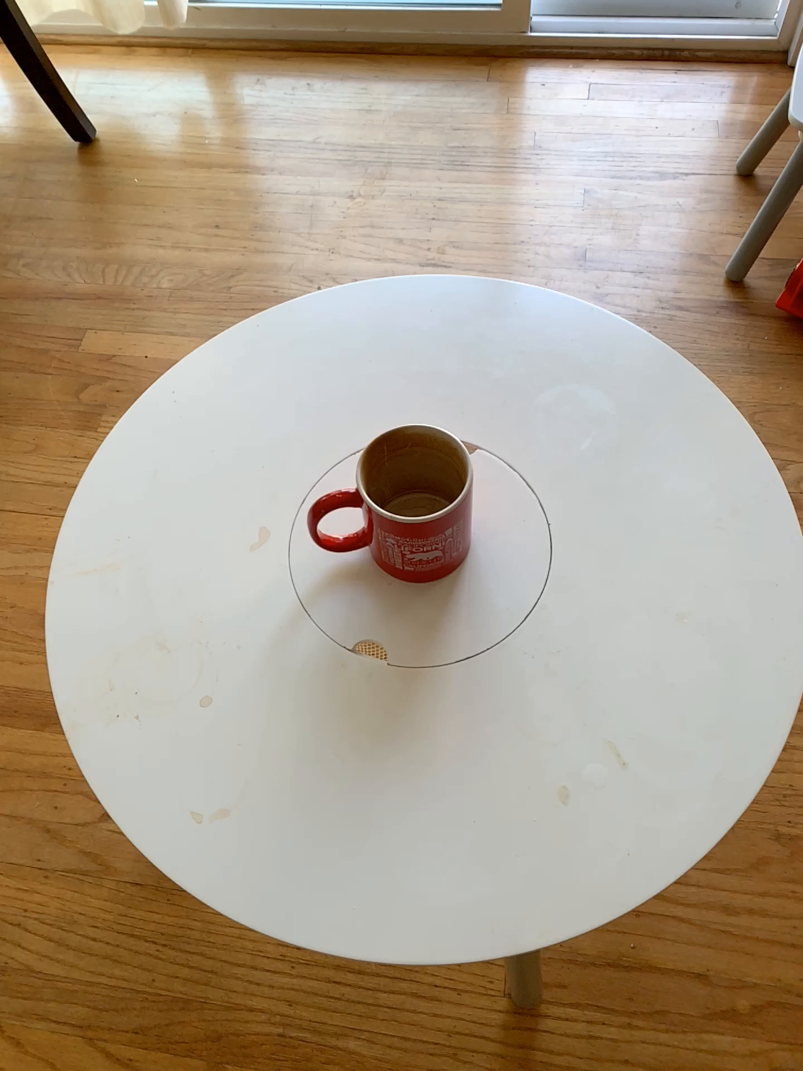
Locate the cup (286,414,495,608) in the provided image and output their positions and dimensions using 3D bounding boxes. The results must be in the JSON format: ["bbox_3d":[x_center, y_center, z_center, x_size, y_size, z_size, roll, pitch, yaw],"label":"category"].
[{"bbox_3d":[-0.007,-0.015,0.583,0.130,0.090,0.090,-7,61,0],"label":"cup"}]
